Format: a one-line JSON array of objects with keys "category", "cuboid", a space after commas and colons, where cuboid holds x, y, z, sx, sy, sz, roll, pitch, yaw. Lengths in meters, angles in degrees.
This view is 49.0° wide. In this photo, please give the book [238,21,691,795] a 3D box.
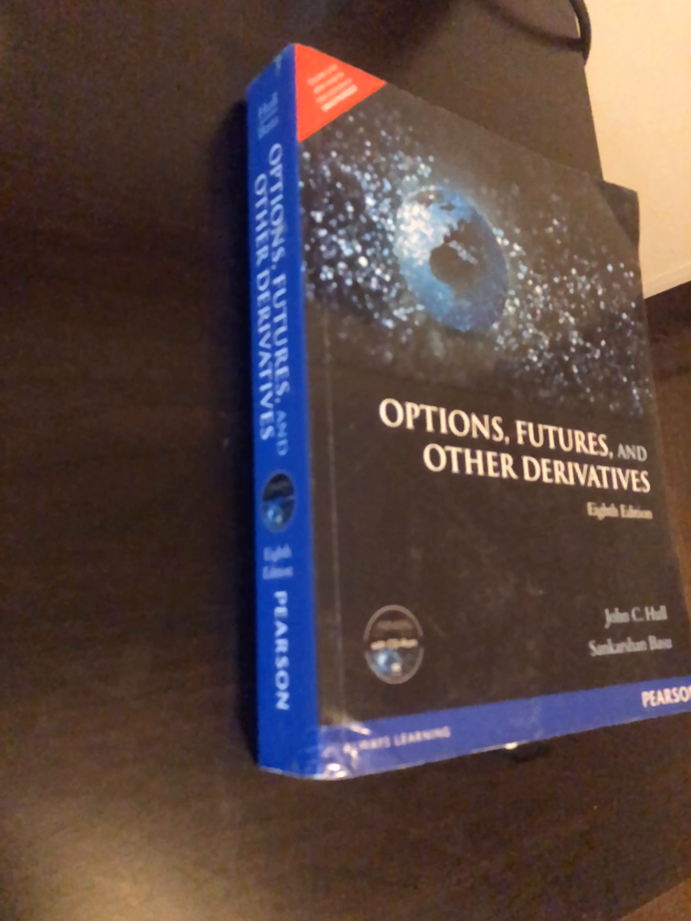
[{"category": "book", "cuboid": [0.061, -0.017, 0.328, 0.208, 0.050, 0.261, 6, 75, -36]}]
